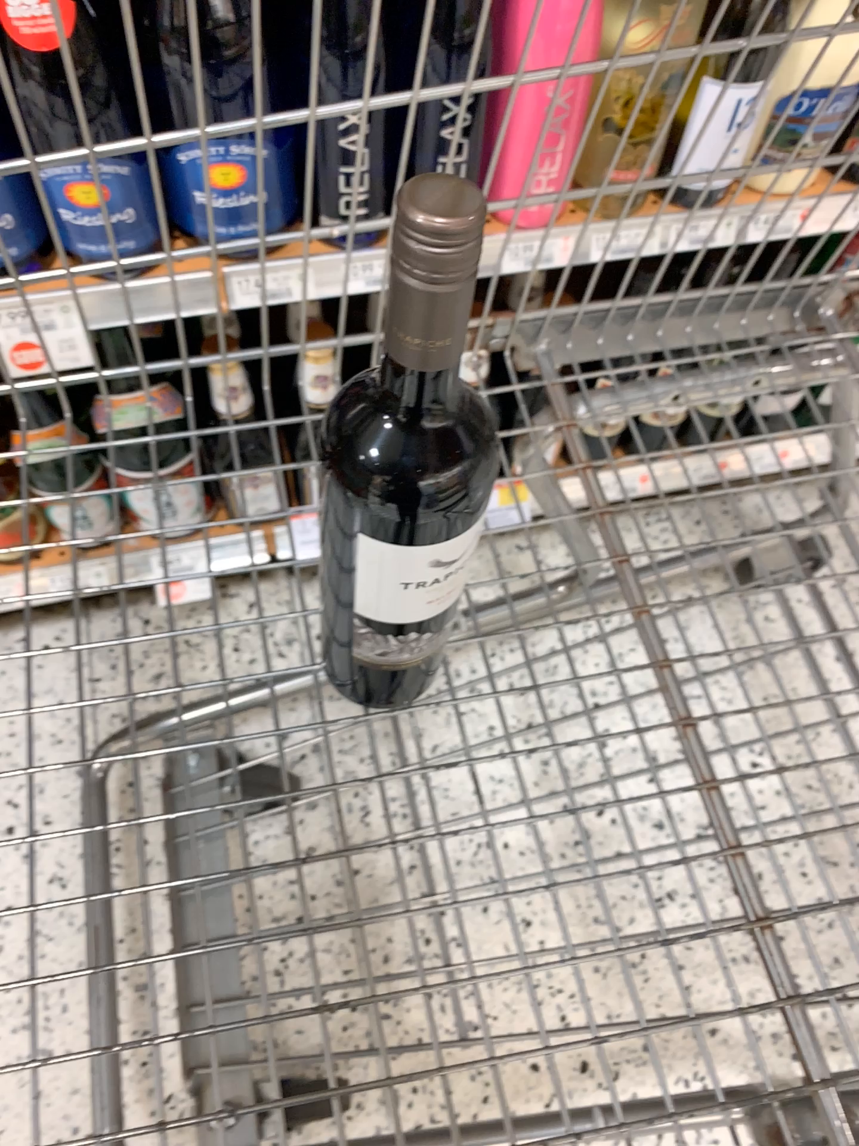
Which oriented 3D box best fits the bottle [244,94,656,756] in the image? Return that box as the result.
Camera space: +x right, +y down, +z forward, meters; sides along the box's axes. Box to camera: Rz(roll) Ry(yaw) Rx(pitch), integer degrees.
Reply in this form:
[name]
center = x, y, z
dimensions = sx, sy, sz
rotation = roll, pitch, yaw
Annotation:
[bottle]
center = -0.009, -0.032, 0.395
dimensions = 0.090, 0.298, 0.090
rotation = 3, 57, -5
